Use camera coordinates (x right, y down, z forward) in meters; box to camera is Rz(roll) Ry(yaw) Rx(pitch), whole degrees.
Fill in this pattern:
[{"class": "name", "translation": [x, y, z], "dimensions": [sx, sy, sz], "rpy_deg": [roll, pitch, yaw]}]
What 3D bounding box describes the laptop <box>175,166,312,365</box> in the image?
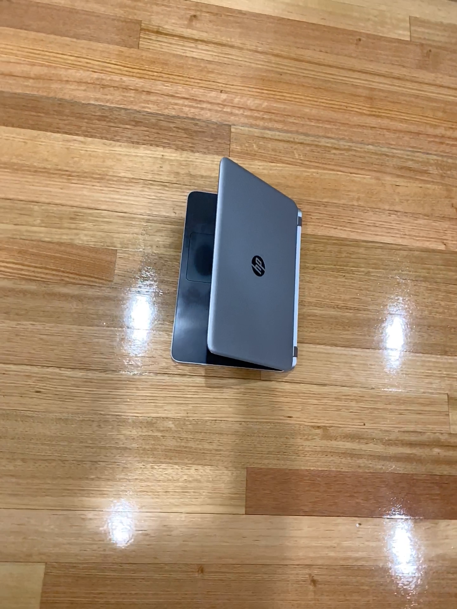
[{"class": "laptop", "translation": [0.030, -0.067, 0.855], "dimensions": [0.209, 0.102, 0.332], "rpy_deg": [7, 74, -9]}]
